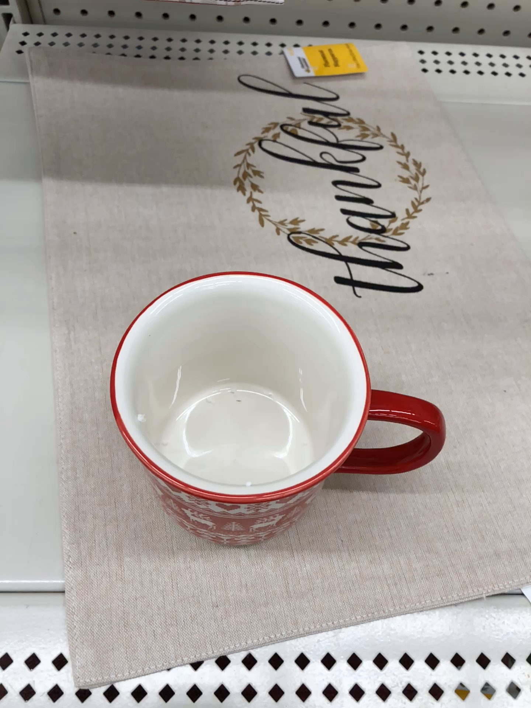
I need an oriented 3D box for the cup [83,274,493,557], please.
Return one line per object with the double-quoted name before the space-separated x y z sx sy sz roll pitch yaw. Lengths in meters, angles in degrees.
"cup" 0.007 0.035 0.284 0.150 0.100 0.100 1 60 -3
